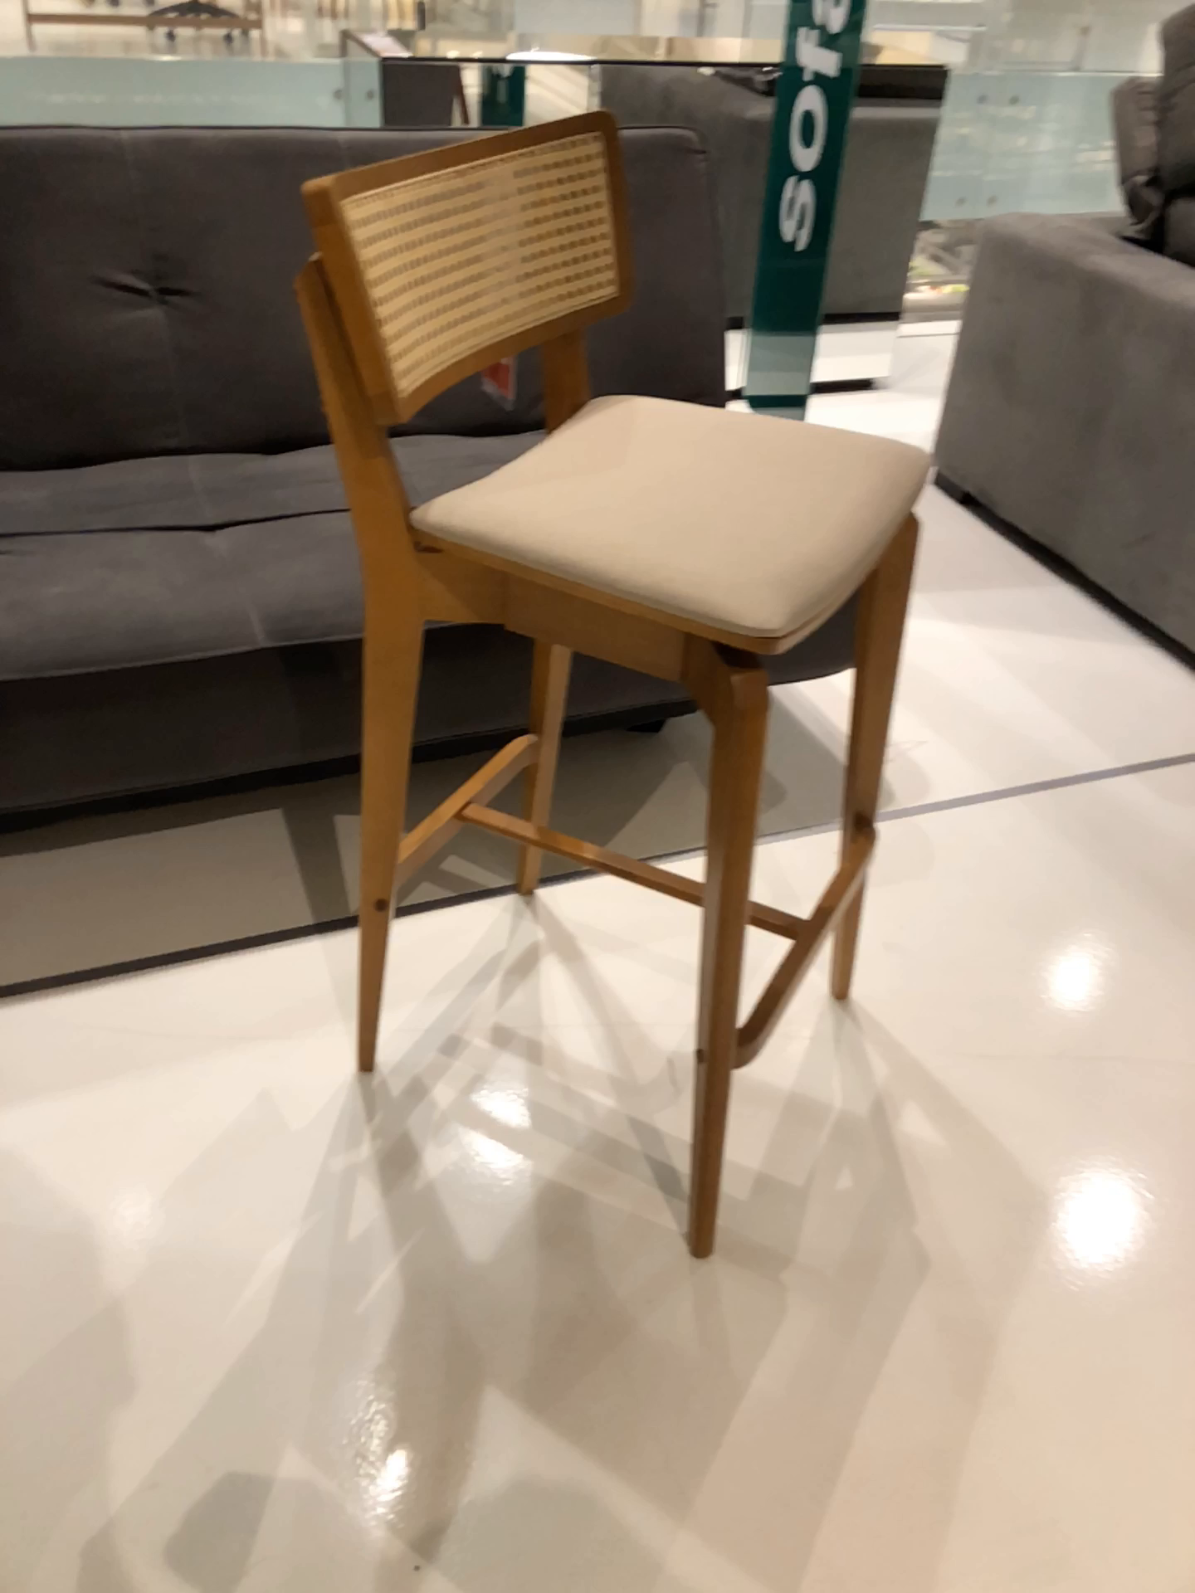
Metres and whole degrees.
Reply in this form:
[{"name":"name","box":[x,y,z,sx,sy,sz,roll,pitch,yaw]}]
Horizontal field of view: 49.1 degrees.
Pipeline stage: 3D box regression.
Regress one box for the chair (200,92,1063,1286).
[{"name":"chair","box":[0.026,-0.102,1.296,0.521,0.962,0.473,19,38,20]}]
